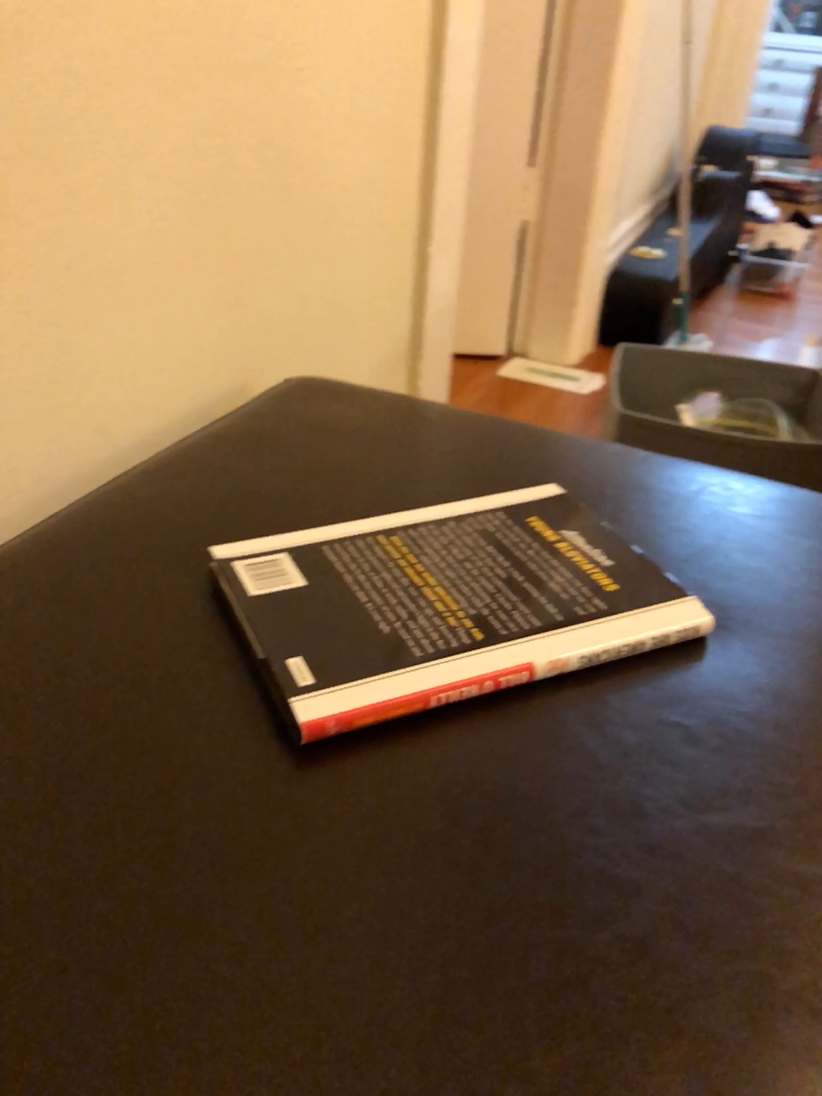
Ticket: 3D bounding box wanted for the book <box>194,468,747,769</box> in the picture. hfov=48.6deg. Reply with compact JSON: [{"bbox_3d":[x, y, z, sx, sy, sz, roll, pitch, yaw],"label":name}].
[{"bbox_3d":[0.025,0.019,0.463,0.230,0.020,0.161,-12,34,-24],"label":"book"}]
